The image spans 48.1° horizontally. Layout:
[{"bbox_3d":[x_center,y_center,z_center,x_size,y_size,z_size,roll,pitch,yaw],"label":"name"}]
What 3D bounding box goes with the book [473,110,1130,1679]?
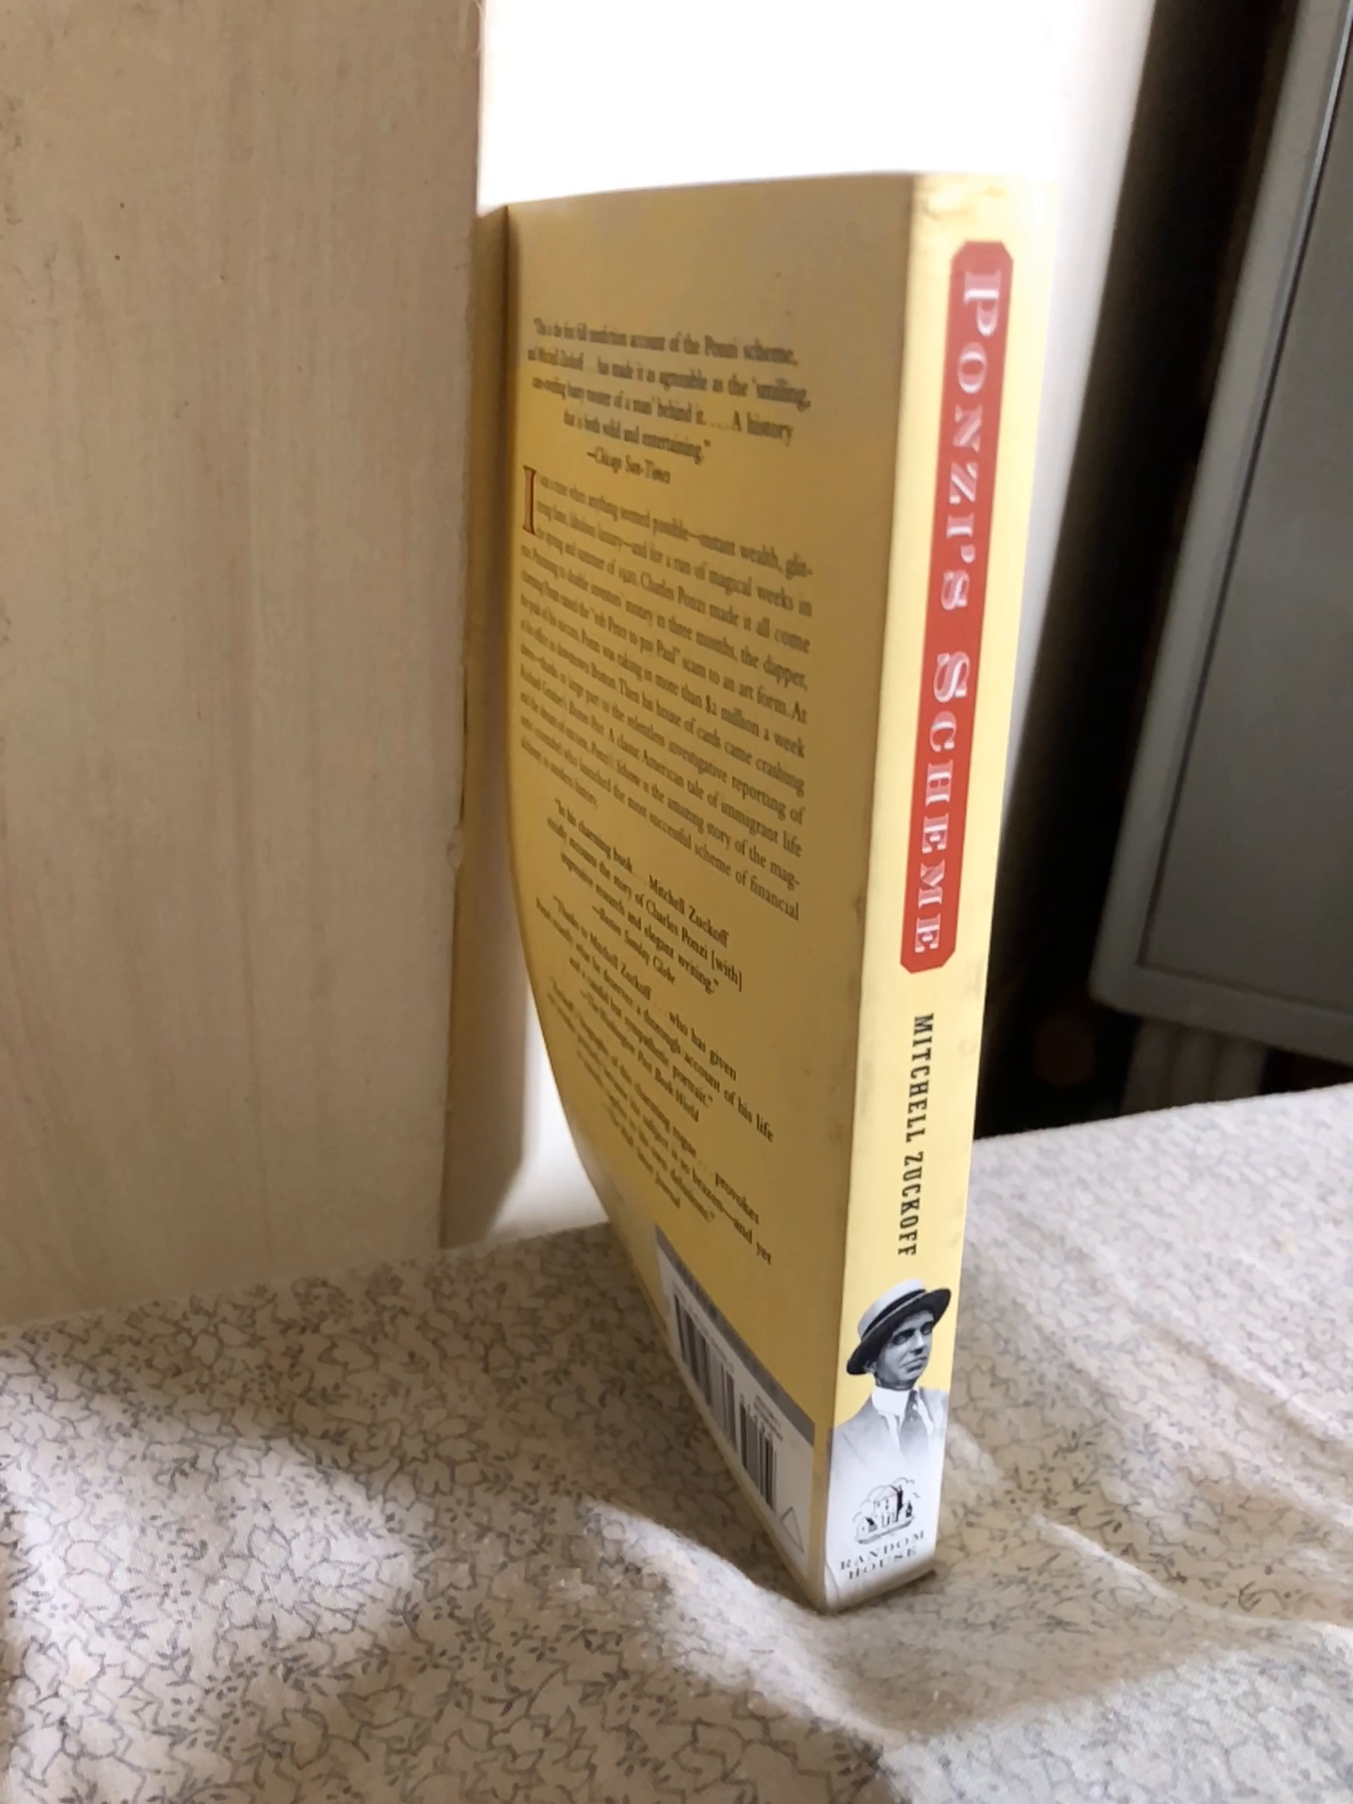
[{"bbox_3d":[0.004,-0.009,0.254,0.040,0.209,0.141,-7,24,-18],"label":"book"}]
